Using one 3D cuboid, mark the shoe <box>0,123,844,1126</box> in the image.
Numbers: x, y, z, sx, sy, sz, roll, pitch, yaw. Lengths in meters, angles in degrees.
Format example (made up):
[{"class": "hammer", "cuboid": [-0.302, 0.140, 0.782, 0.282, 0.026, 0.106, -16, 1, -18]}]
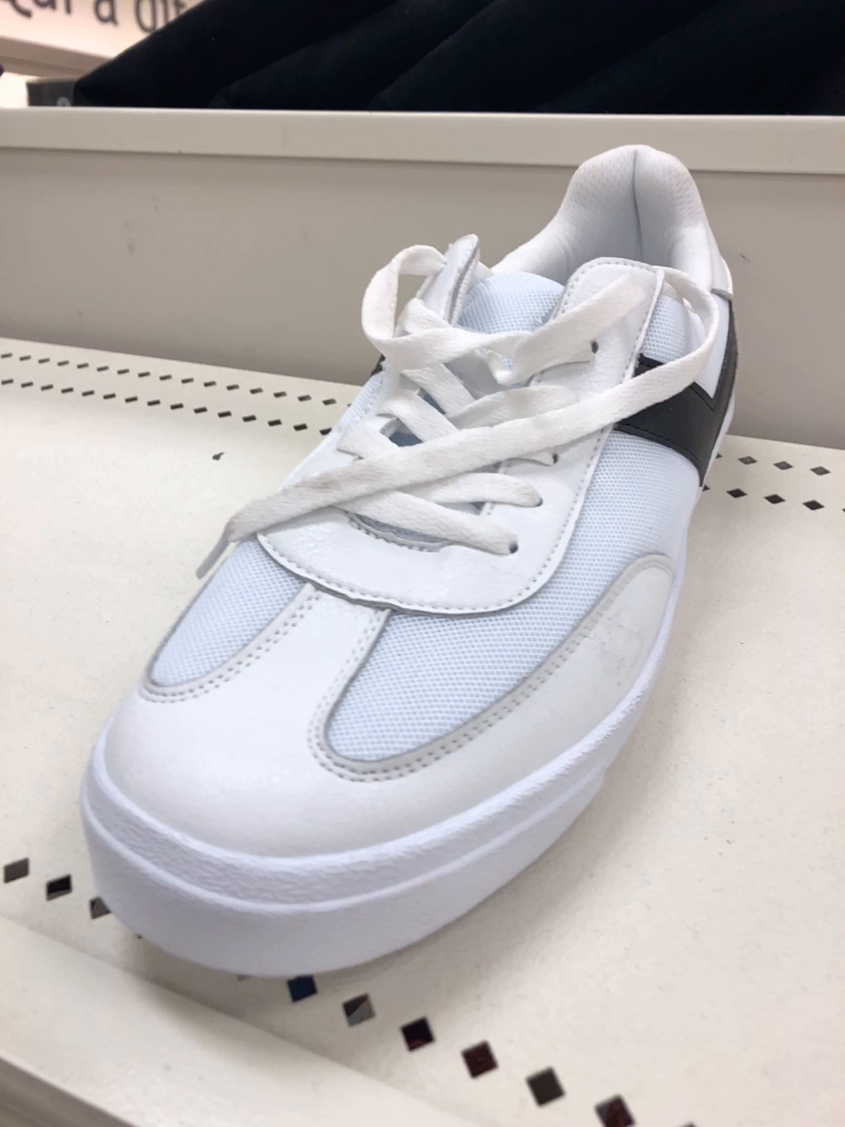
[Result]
[{"class": "shoe", "cuboid": [0.048, -0.054, 0.281, 0.113, 0.129, 0.372, 14, 30, 27]}]
